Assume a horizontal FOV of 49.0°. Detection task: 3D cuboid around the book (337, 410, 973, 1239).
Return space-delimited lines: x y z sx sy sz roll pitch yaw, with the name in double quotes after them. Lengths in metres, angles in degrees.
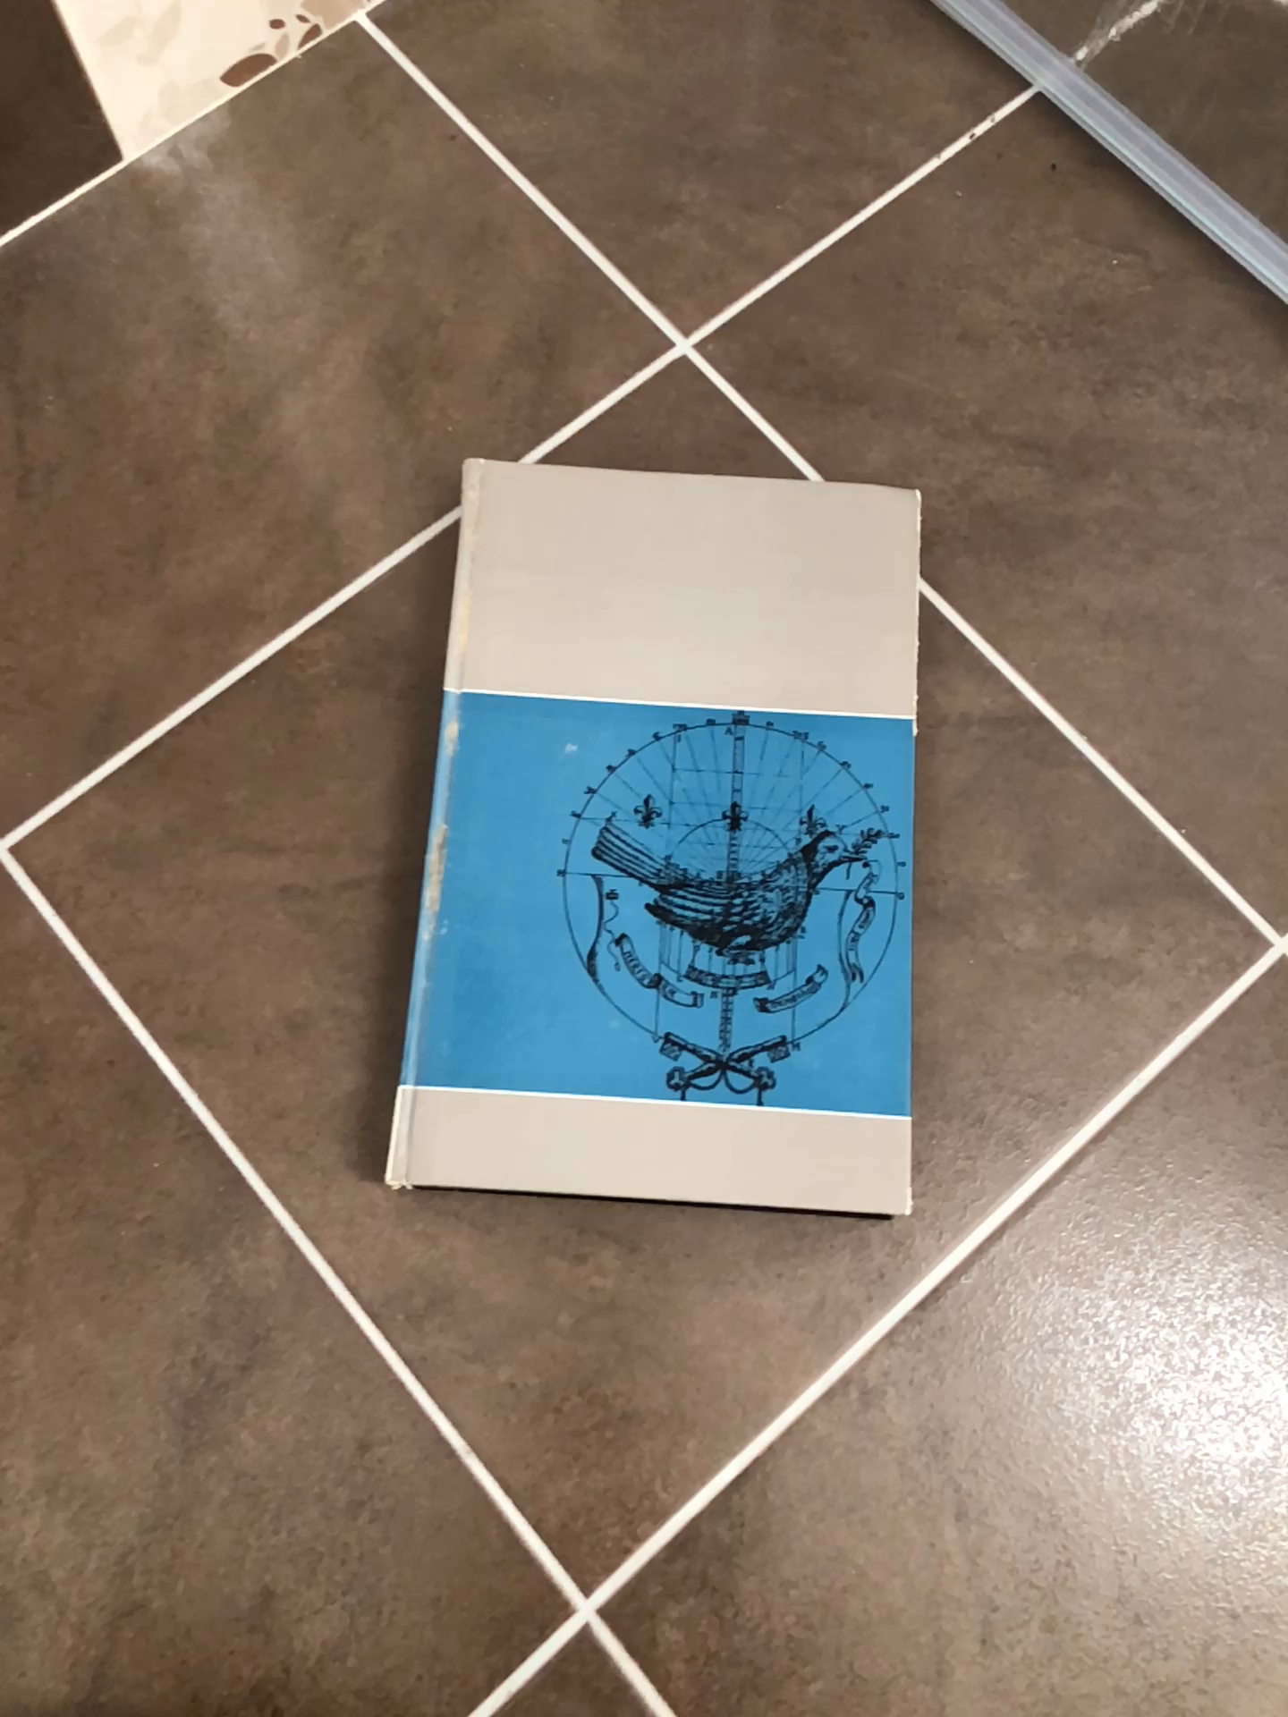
0.013 -0.020 0.533 0.210 0.040 0.300 4 73 0 "book"
